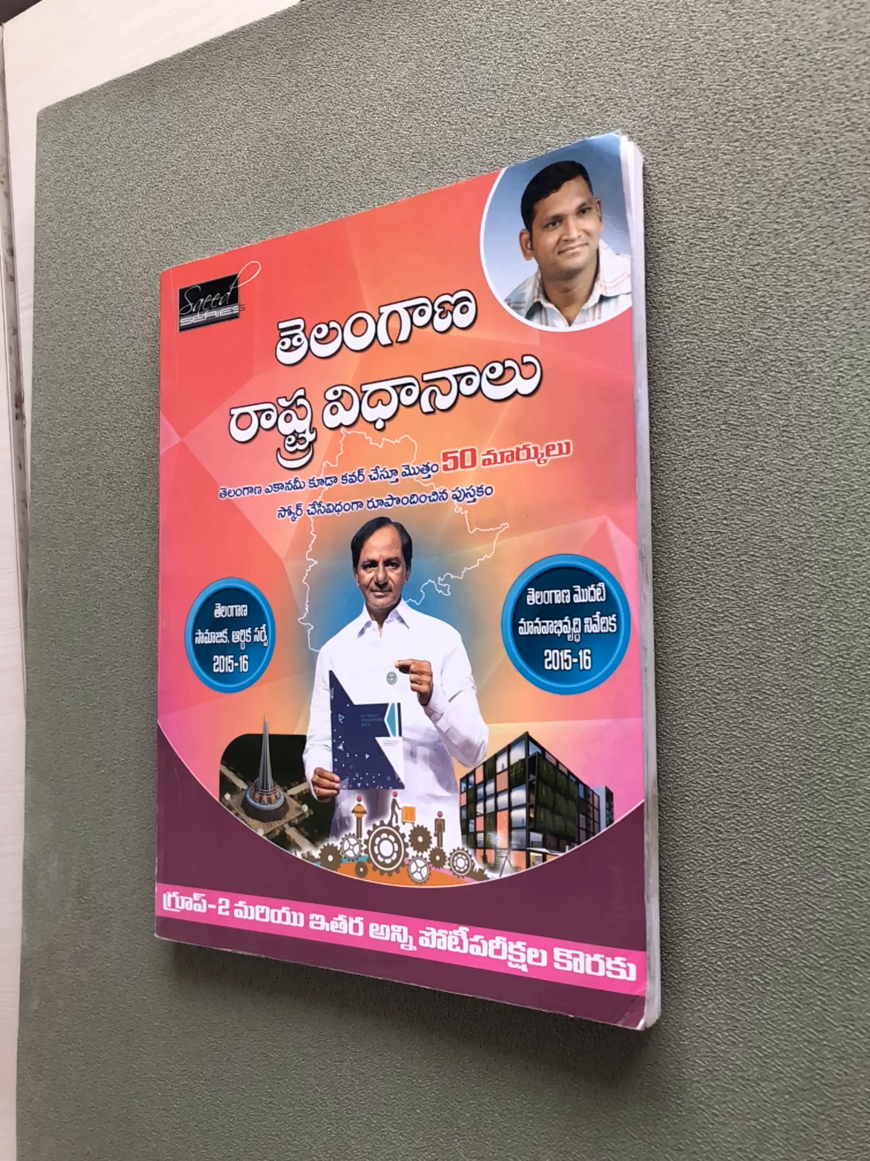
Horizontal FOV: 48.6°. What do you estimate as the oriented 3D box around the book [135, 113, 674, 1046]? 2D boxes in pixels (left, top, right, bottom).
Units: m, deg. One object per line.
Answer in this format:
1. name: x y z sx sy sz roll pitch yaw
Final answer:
1. book: -0.020 0.000 0.314 0.180 0.030 0.250 -3 85 29
